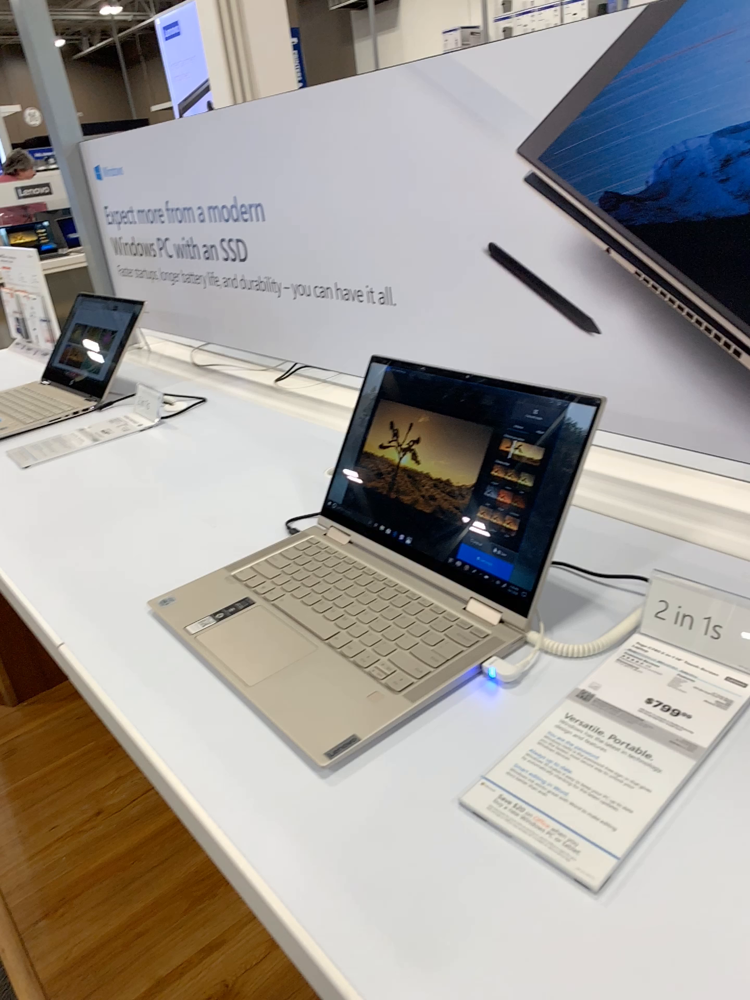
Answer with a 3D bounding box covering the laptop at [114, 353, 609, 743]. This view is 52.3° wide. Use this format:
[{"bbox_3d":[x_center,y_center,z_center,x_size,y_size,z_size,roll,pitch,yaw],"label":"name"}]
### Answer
[{"bbox_3d":[-0.014,0.004,0.727,0.329,0.170,0.310,-24,29,-30],"label":"laptop"}]
